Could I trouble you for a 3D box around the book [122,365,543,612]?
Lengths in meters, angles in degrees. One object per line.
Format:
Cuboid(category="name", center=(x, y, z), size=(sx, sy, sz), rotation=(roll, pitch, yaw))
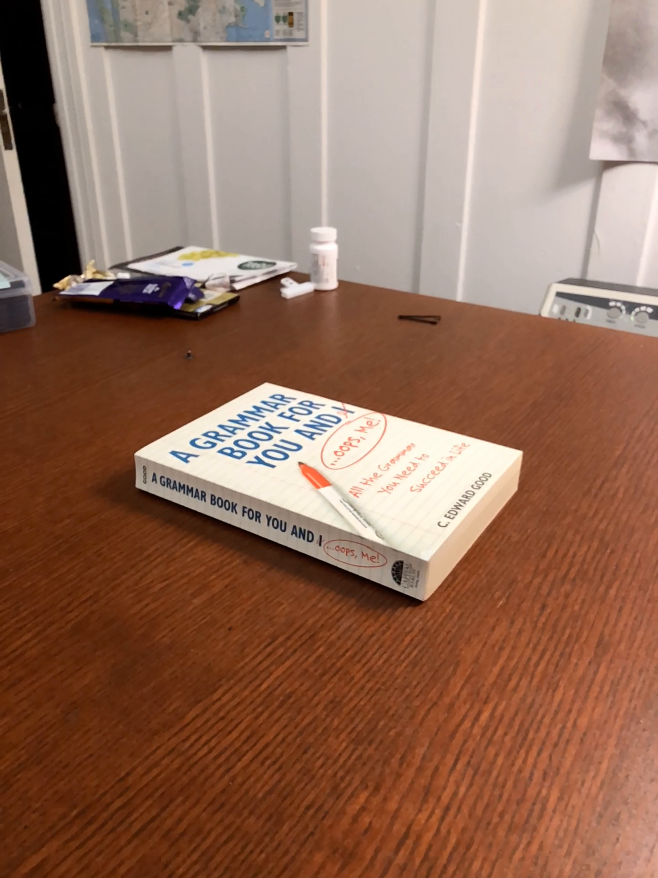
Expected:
Cuboid(category="book", center=(0.005, 0.016, 0.517), size=(0.240, 0.040, 0.171), rotation=(16, 31, 28))
